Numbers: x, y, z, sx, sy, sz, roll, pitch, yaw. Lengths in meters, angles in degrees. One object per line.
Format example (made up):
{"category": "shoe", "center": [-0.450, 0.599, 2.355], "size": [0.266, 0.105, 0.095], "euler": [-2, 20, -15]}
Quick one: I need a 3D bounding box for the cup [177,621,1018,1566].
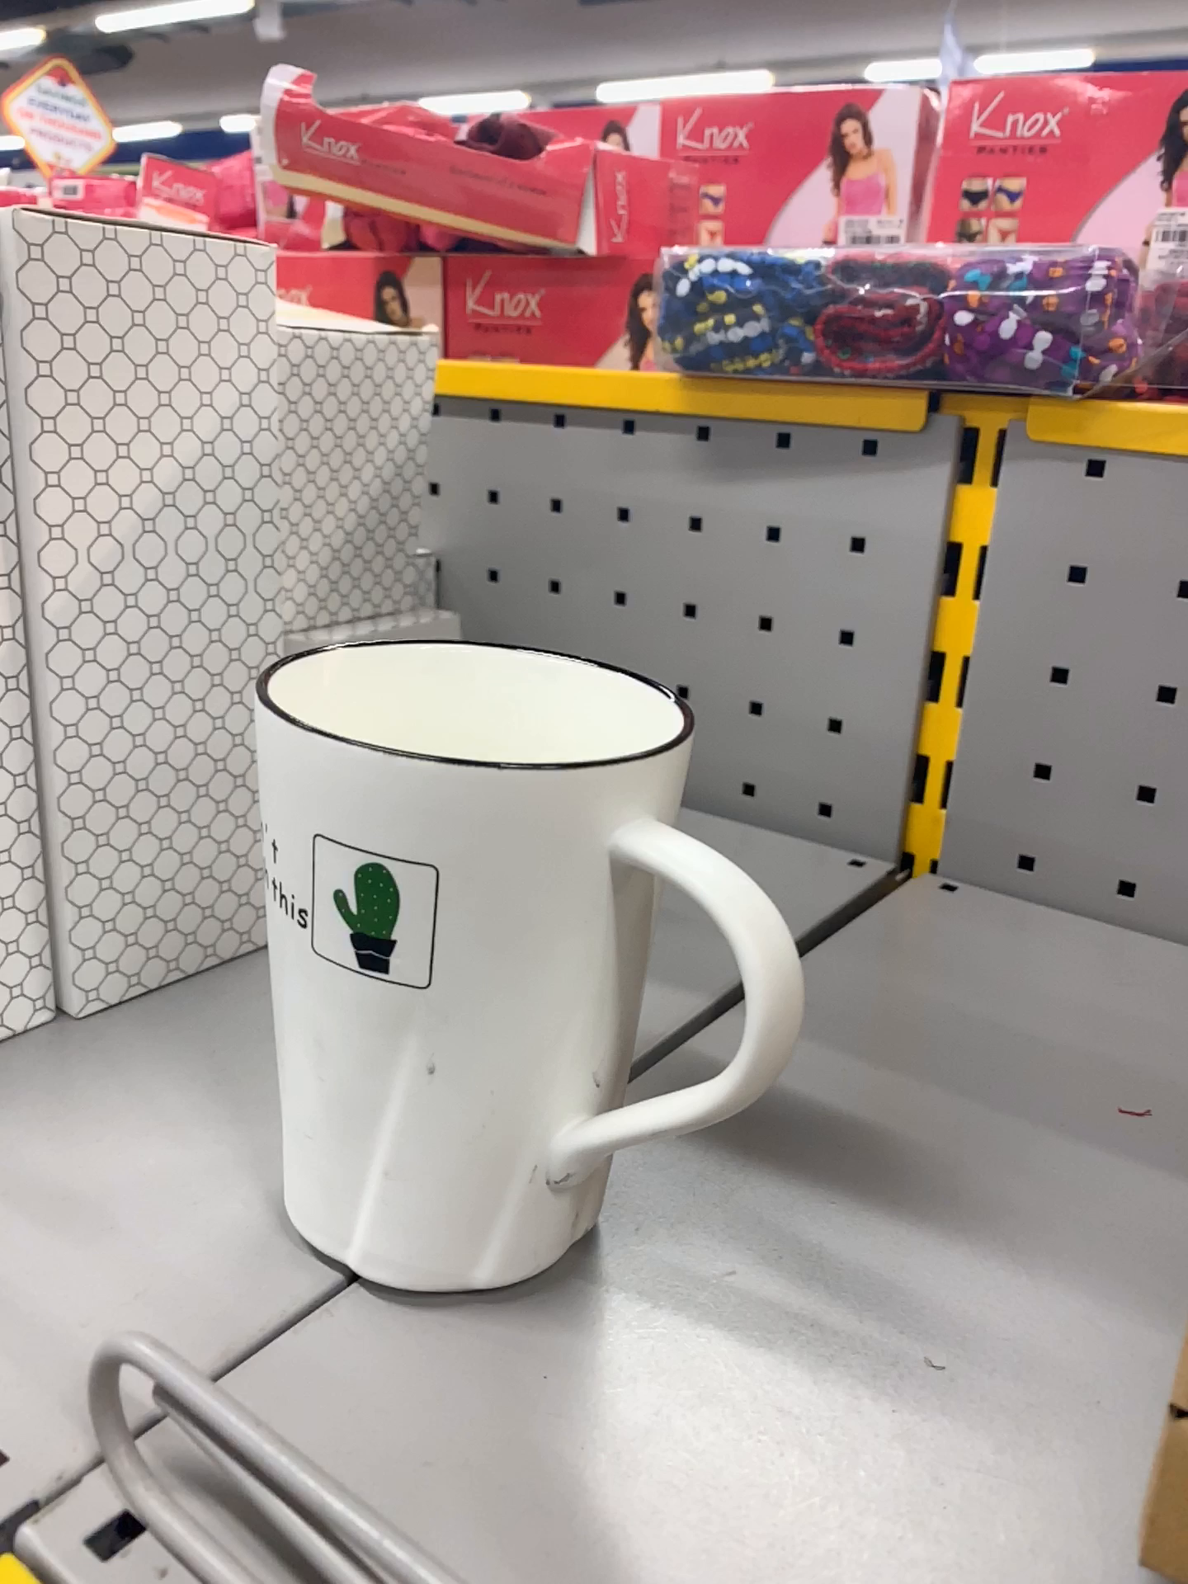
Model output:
{"category": "cup", "center": [-0.005, 0.041, 0.249], "size": [0.130, 0.120, 0.090], "euler": [18, 24, 36]}
